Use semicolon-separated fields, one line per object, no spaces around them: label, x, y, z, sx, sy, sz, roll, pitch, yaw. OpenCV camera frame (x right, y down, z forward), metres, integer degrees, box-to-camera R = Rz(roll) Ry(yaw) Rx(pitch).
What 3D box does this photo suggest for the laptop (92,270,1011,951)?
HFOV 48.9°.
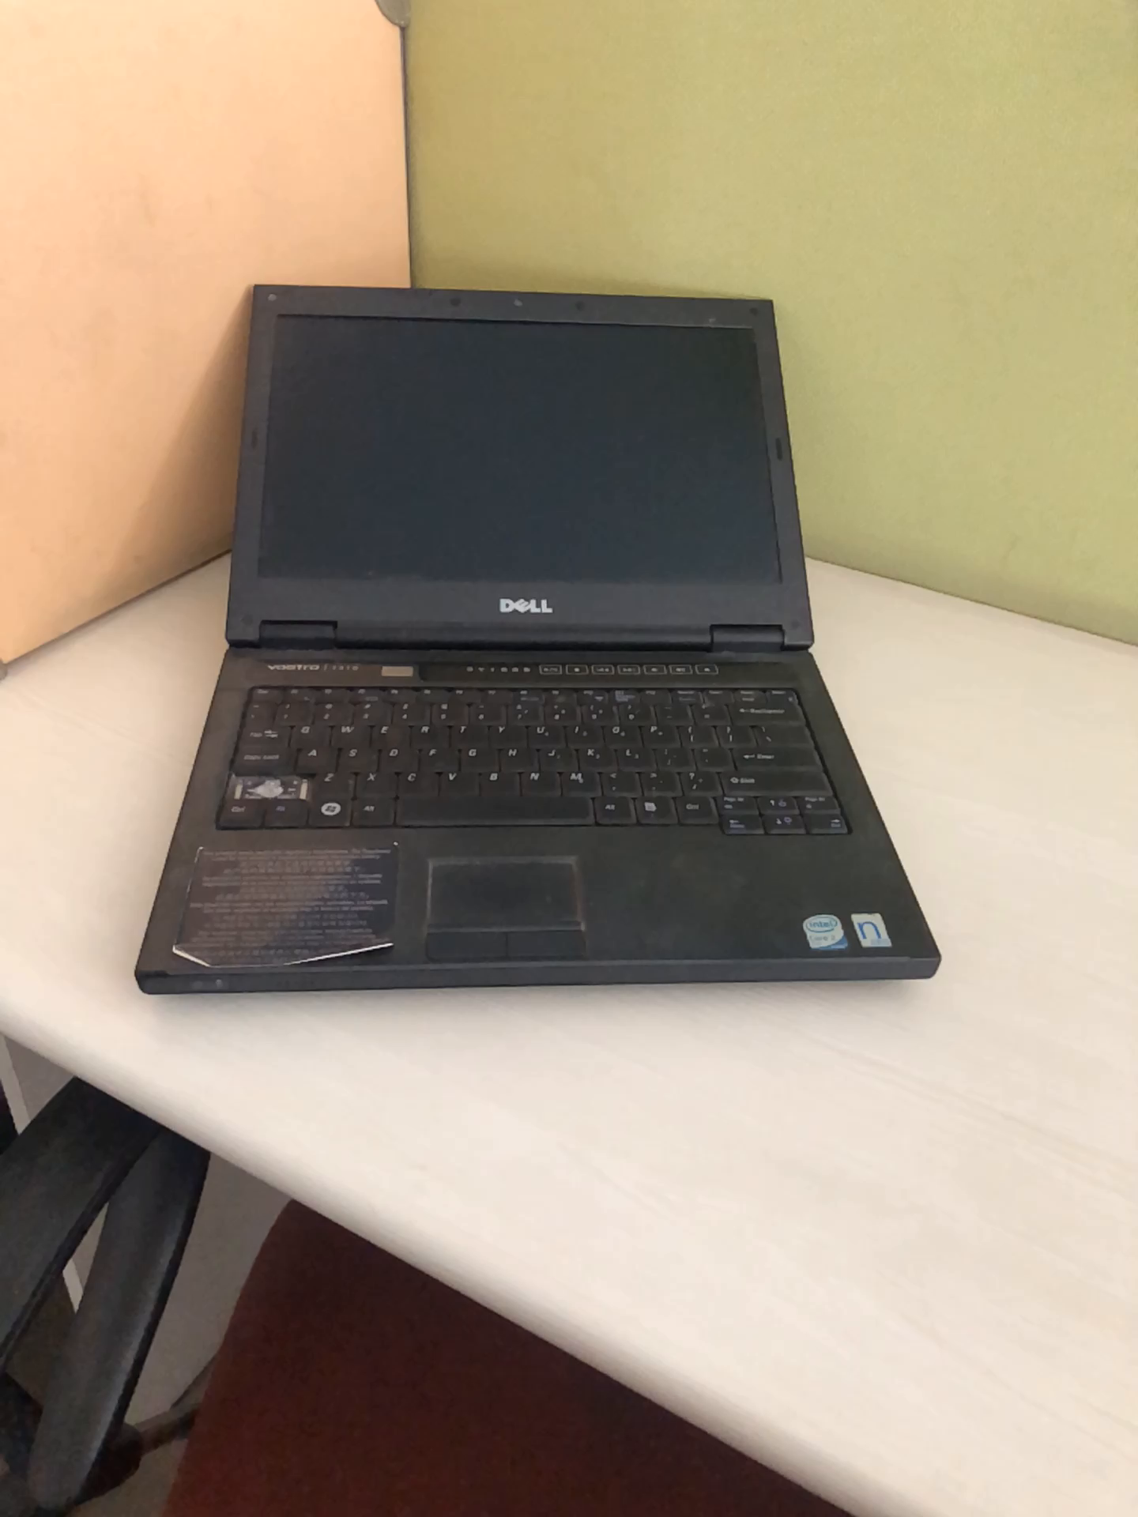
laptop;-0.018;-0.111;0.622;0.305;0.125;0.432;0;37;-5
